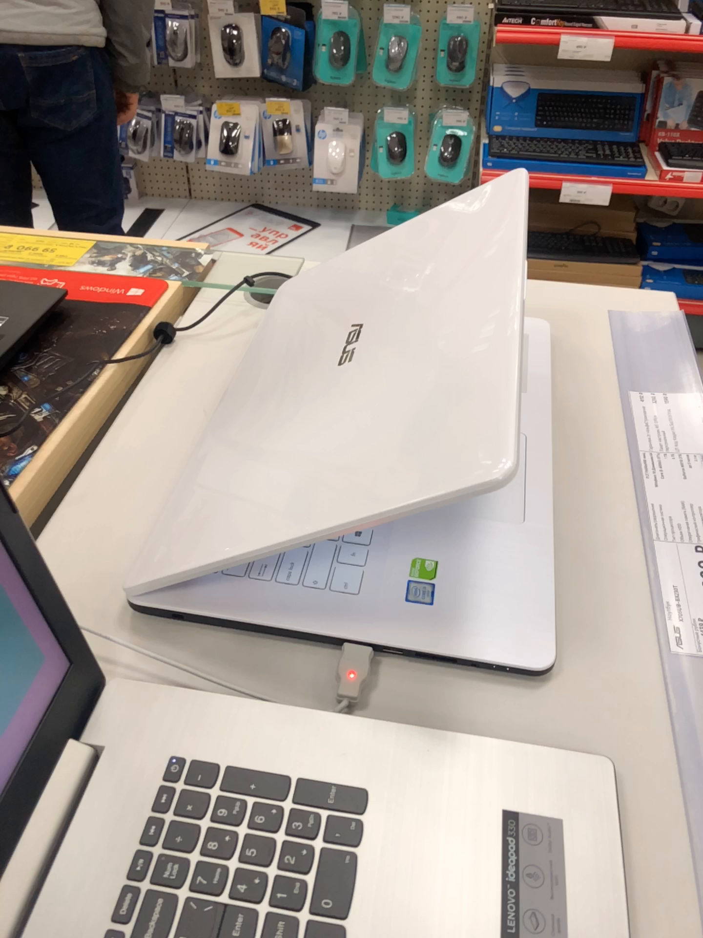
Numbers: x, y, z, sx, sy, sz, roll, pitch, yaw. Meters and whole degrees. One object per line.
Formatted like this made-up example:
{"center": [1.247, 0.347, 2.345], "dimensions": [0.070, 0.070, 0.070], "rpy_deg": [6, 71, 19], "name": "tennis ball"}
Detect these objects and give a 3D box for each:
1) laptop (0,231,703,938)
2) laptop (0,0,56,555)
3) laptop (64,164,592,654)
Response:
{"center": [-0.071, 0.161, 0.155], "dimensions": [0.336, 0.262, 0.394], "rpy_deg": [5, 40, 4], "name": "laptop"}
{"center": [-0.530, -0.172, 0.541], "dimensions": [0.377, 0.220, 0.367], "rpy_deg": [12, 41, 9], "name": "laptop"}
{"center": [0.006, -0.083, 0.567], "dimensions": [0.256, 0.142, 0.393], "rpy_deg": [5, 39, 5], "name": "laptop"}
